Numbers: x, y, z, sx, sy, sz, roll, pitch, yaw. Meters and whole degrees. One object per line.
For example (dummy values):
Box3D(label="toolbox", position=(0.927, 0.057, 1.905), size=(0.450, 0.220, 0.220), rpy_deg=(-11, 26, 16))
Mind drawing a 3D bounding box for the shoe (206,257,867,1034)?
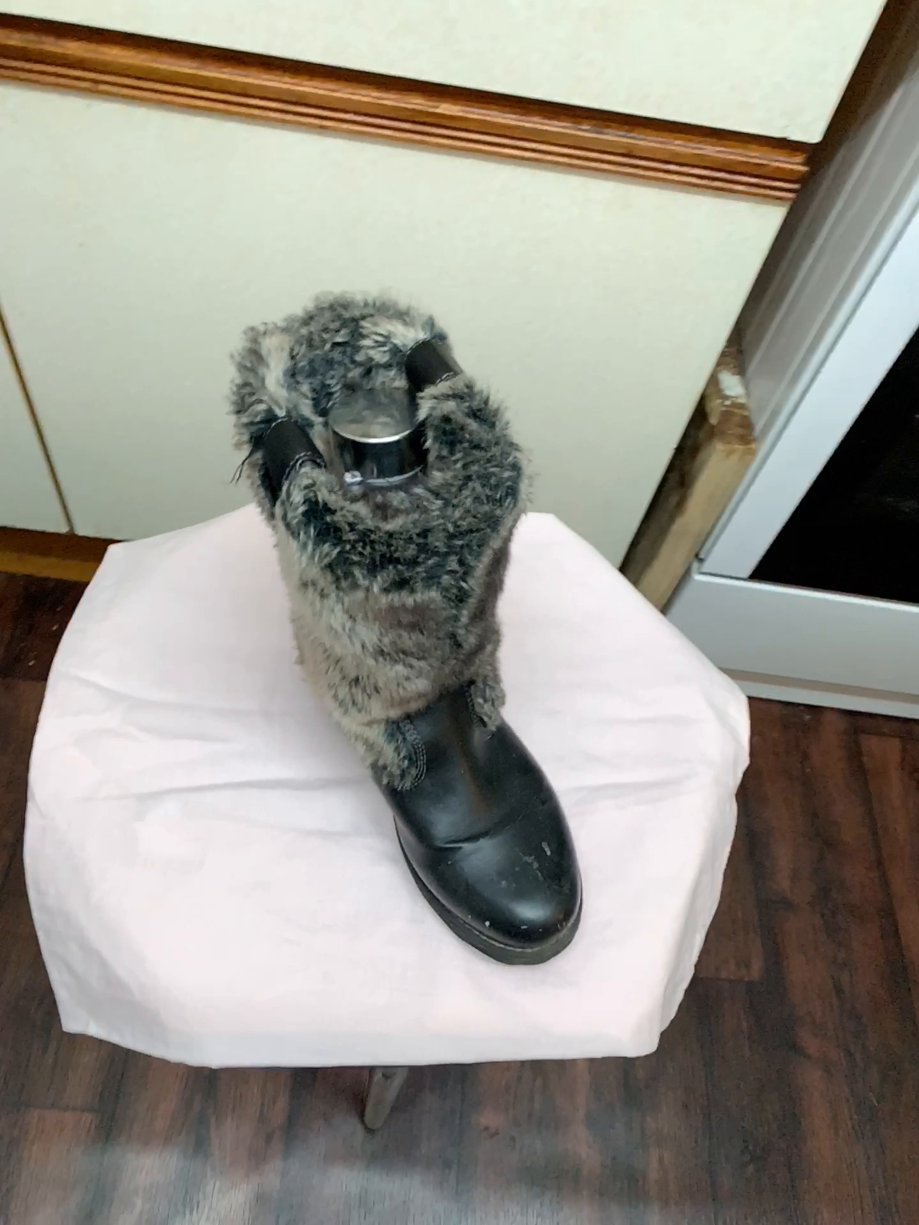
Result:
Box3D(label="shoe", position=(0.002, 0.024, 0.457), size=(0.120, 0.238, 0.271), rpy_deg=(-25, 64, -23))
